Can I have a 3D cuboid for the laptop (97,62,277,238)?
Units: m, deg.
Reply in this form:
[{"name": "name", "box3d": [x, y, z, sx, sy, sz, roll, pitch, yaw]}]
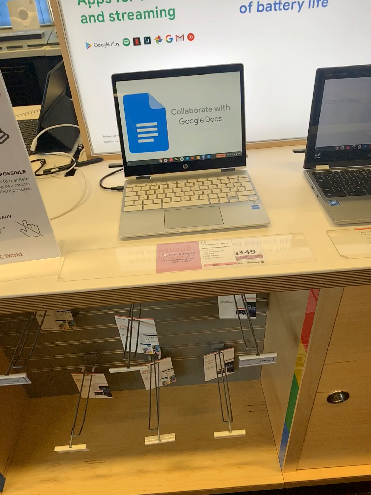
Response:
[{"name": "laptop", "box3d": [-0.002, -0.191, 0.703, 0.257, 0.190, 0.271, -5, 39, -1]}]
